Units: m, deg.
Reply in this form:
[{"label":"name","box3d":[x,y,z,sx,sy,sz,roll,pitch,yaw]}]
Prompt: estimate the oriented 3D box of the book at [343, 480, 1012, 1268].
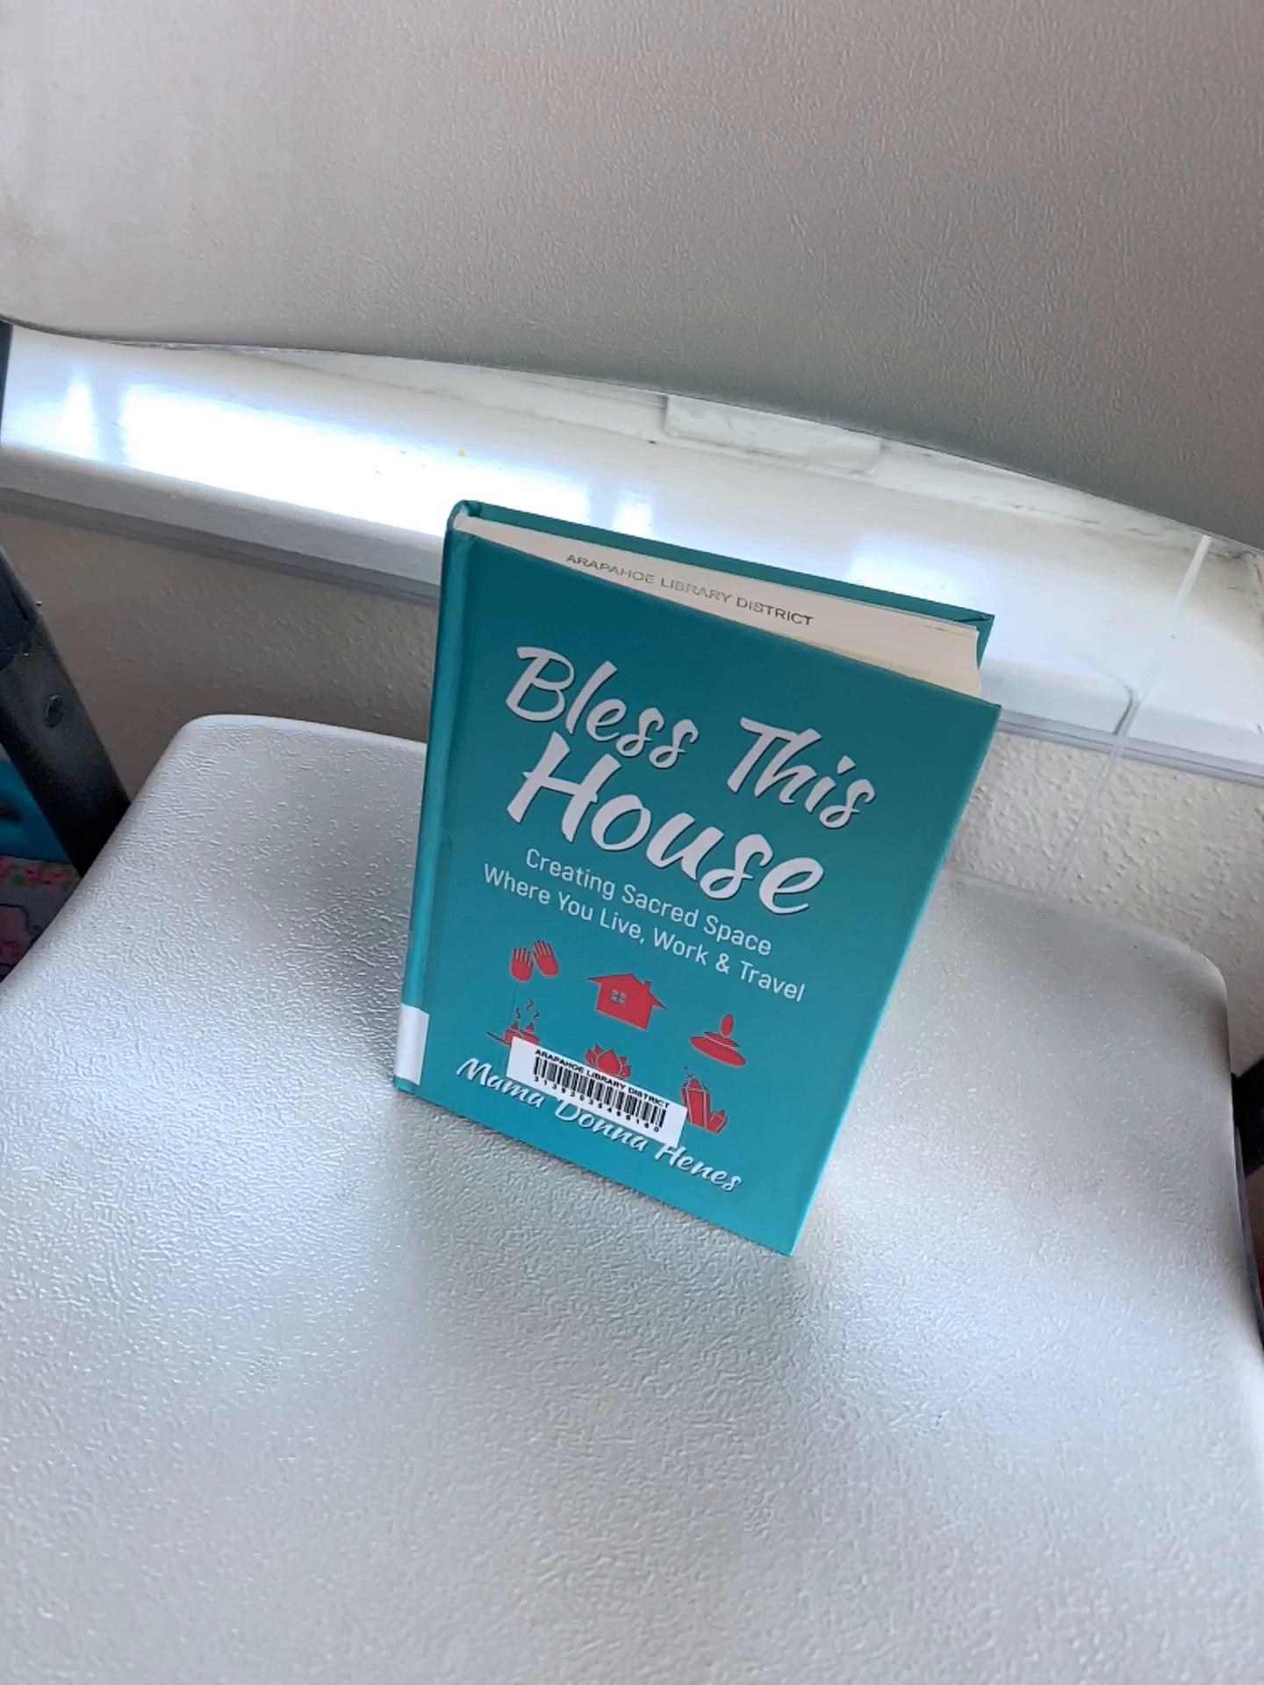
[{"label":"book","box3d":[0.002,0.015,0.345,0.141,0.181,0.051,15,34,7]}]
